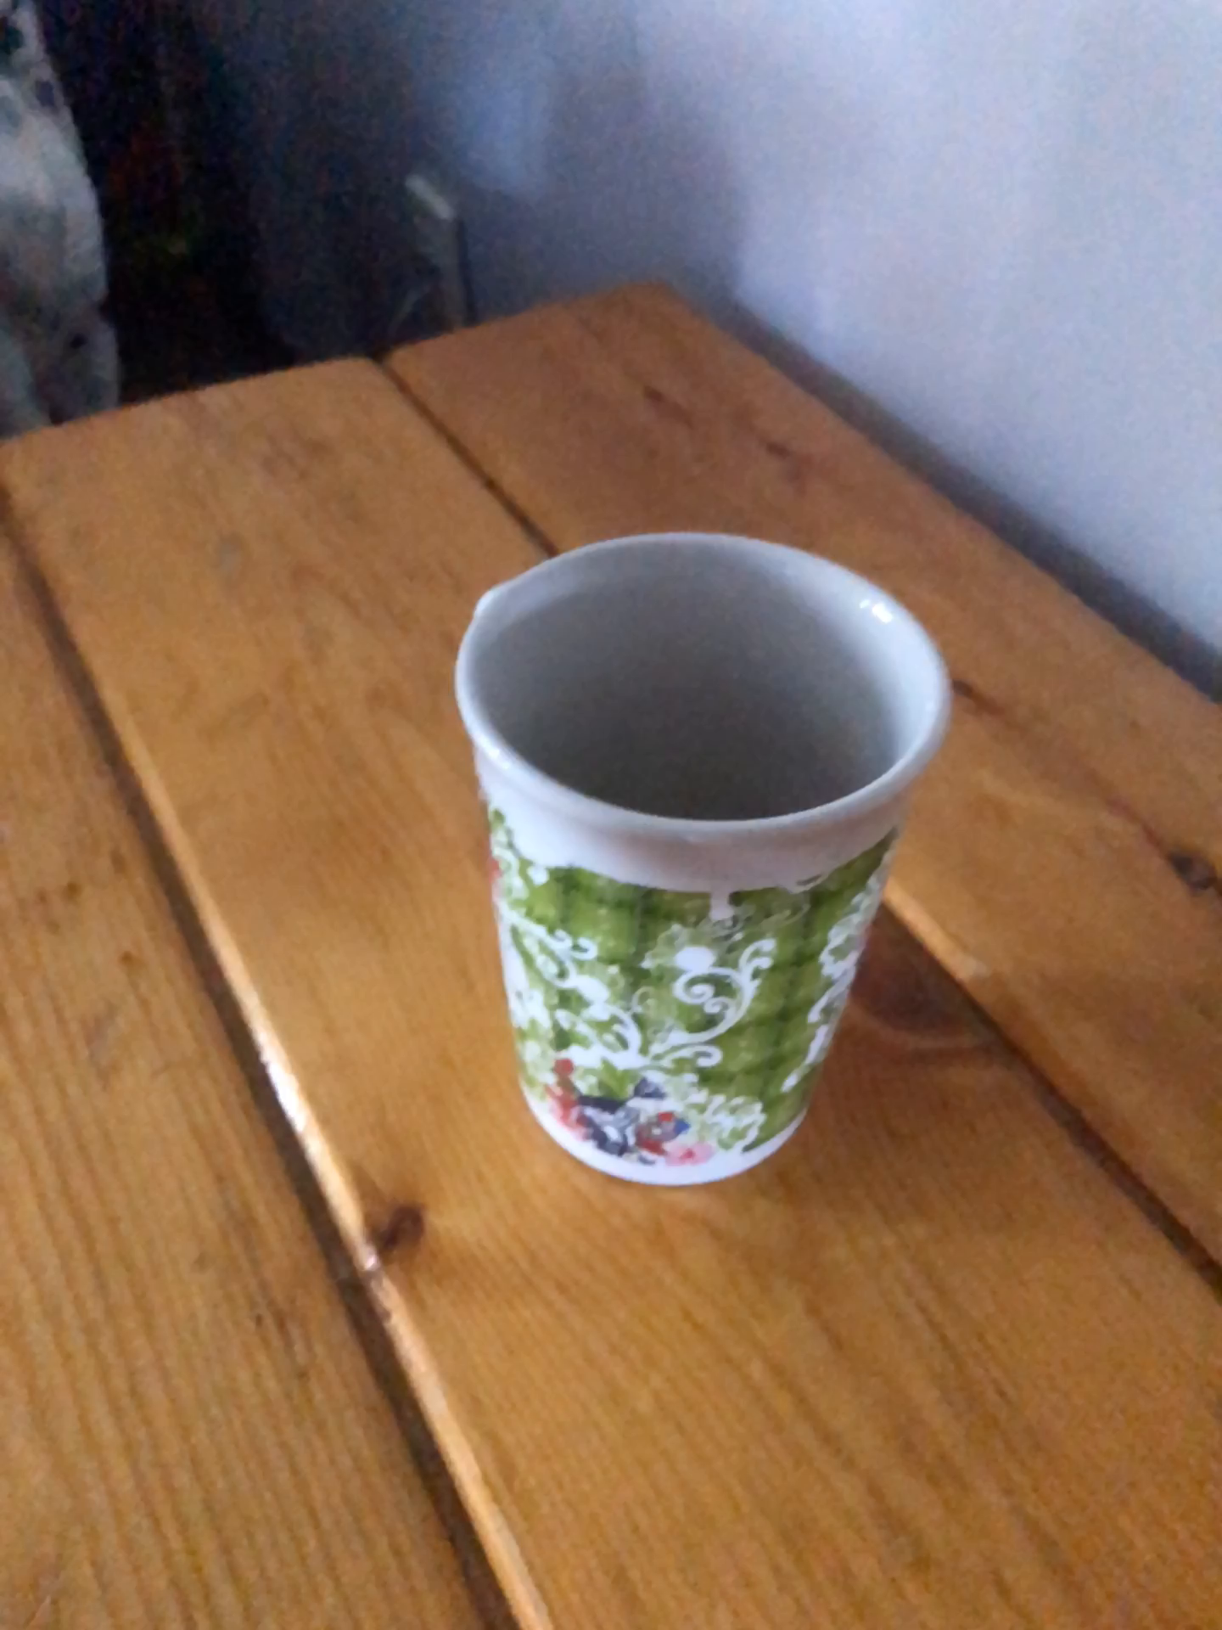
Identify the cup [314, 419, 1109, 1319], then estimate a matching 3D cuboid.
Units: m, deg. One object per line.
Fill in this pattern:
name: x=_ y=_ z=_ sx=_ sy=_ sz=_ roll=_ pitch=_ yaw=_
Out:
cup: x=0.013 y=0.007 z=0.301 sx=0.090 sy=0.120 sz=0.130 roll=-25 pitch=50 yaw=-23
